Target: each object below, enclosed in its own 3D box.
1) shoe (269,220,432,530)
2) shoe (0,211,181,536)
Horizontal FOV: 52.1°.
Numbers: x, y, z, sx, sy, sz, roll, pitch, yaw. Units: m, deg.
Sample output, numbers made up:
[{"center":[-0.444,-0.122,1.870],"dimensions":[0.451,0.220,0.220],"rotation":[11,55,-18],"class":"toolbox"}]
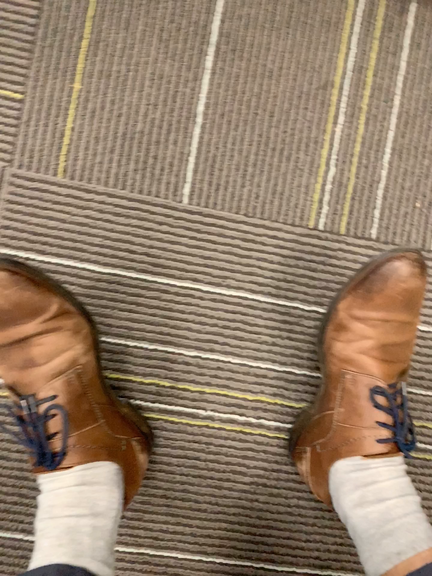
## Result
[{"center":[0.146,0.086,0.427],"dimensions":[0.103,0.074,0.282],"rotation":[3,110,-25],"class":"shoe"},{"center":[-0.131,0.084,0.401],"dimensions":[0.120,0.084,0.272],"rotation":[-12,112,7],"class":"shoe"}]
